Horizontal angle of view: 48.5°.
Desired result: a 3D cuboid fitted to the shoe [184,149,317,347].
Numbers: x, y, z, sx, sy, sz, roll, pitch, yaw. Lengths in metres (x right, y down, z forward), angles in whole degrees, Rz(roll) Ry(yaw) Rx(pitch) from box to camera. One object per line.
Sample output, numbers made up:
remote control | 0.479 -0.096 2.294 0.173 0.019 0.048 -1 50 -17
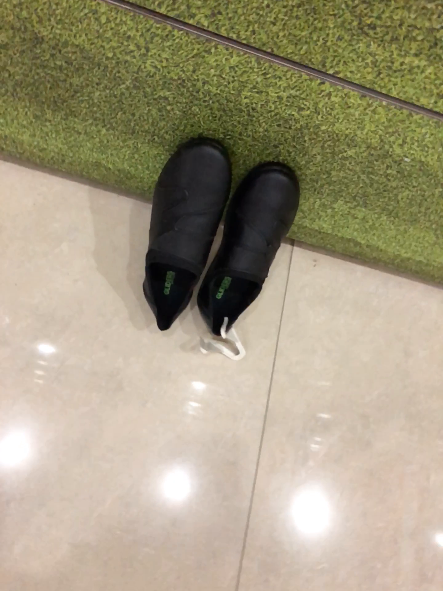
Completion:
shoe | 0.029 -0.049 0.601 0.074 0.229 0.067 20 35 -8

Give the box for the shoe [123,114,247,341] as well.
shoe | -0.050 -0.080 0.620 0.087 0.248 0.107 14 30 -8
